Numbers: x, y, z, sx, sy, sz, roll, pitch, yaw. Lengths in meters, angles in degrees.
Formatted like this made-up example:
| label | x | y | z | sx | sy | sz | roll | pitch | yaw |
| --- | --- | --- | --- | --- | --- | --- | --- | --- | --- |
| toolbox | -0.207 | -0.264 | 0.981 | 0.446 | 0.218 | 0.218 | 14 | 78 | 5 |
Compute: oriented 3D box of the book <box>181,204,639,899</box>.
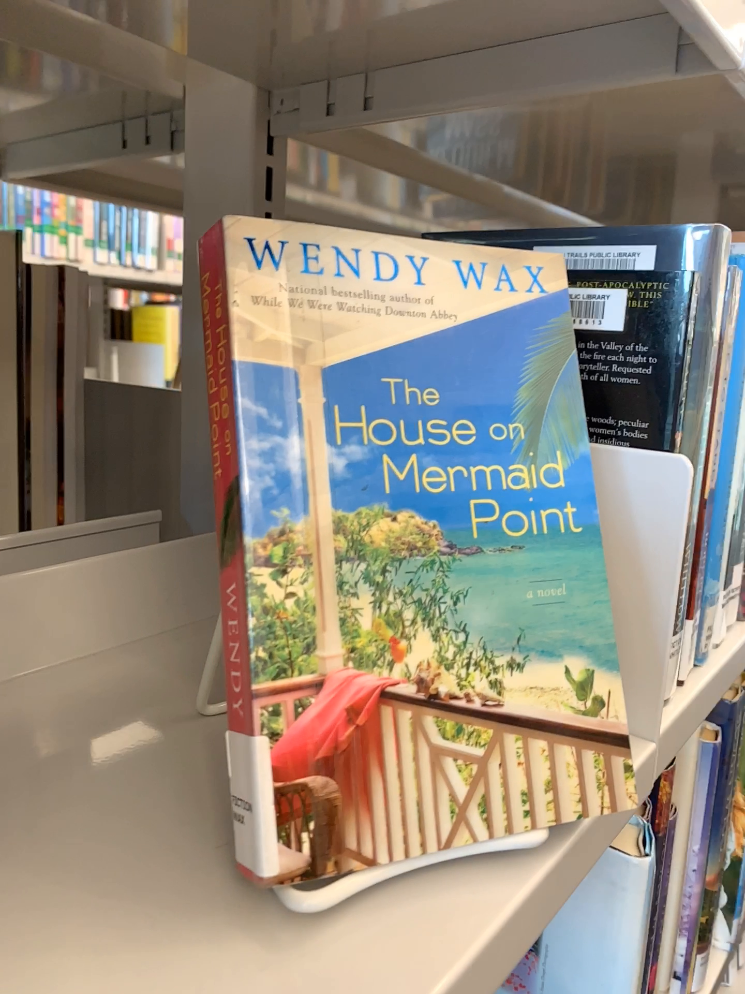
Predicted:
| label | x | y | z | sx | sy | sz | roll | pitch | yaw |
| --- | --- | --- | --- | --- | --- | --- | --- | --- | --- |
| book | 0.011 | 0.010 | 0.259 | 0.131 | 0.193 | 0.043 | -2 | -8 | -22 |
